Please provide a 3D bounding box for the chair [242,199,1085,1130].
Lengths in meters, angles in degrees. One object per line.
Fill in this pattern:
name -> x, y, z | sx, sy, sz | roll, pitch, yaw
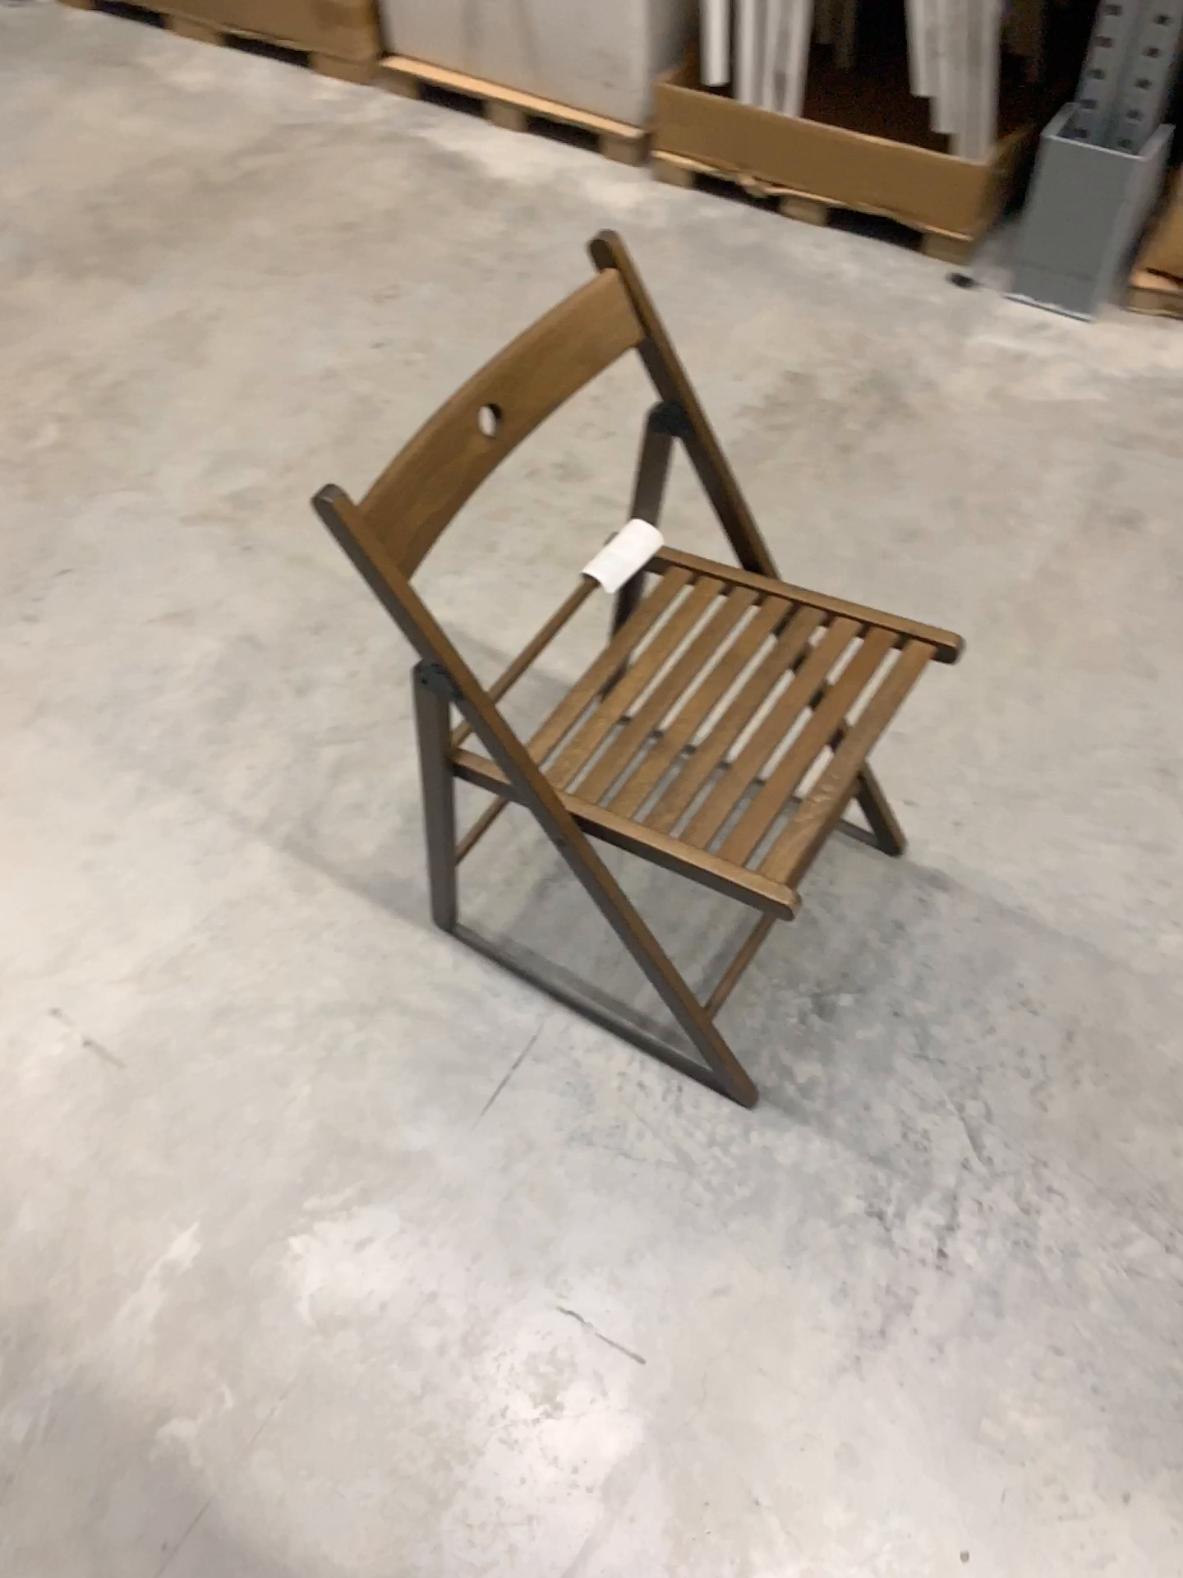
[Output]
chair -> 0.085, -0.096, 1.258 | 0.501, 0.698, 0.481 | 27, 61, 21
